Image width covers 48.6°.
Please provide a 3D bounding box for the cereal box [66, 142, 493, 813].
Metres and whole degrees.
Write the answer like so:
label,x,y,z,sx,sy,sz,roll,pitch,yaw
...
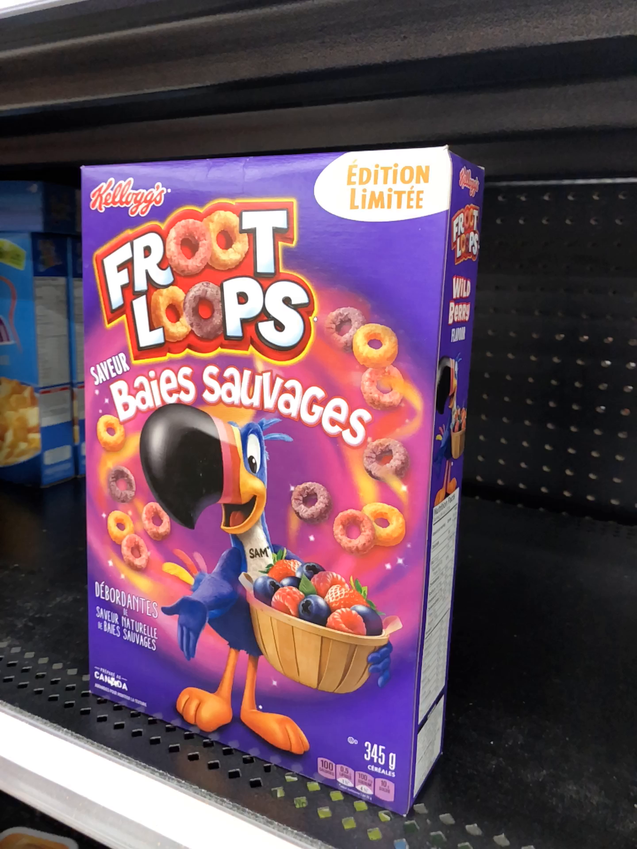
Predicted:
label,x,y,z,sx,sy,sz,roll,pitch,yaw
cereal box,-0.032,0.017,0.365,0.210,0.289,0.050,8,12,28
